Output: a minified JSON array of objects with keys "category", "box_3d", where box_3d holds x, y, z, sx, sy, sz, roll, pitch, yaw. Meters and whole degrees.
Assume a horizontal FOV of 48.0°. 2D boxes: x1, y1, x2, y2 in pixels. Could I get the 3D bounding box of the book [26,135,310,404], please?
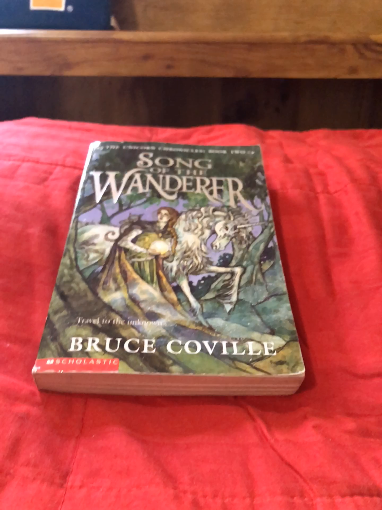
[{"category":"book","box_3d":[-0.011,-0.006,0.271,0.130,0.030,0.192,1,49,-2]}]
